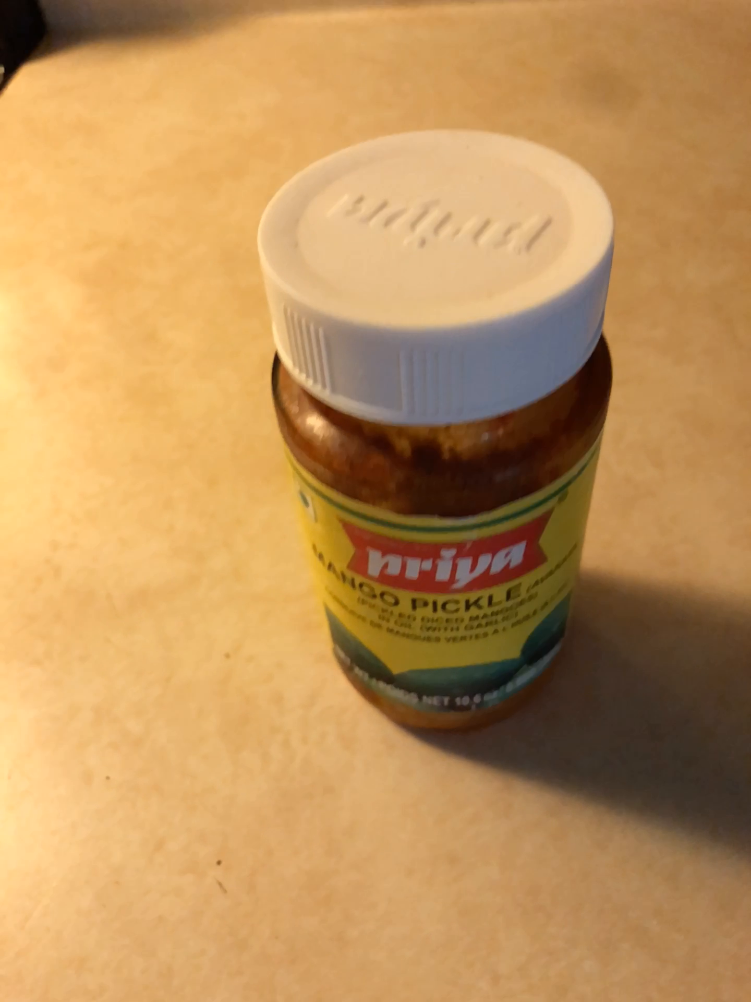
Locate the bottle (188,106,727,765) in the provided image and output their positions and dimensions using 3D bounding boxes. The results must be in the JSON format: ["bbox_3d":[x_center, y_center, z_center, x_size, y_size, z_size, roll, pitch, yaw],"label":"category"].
[{"bbox_3d":[0.018,-0.003,0.179,0.070,0.130,0.060,3,50,8],"label":"bottle"}]
